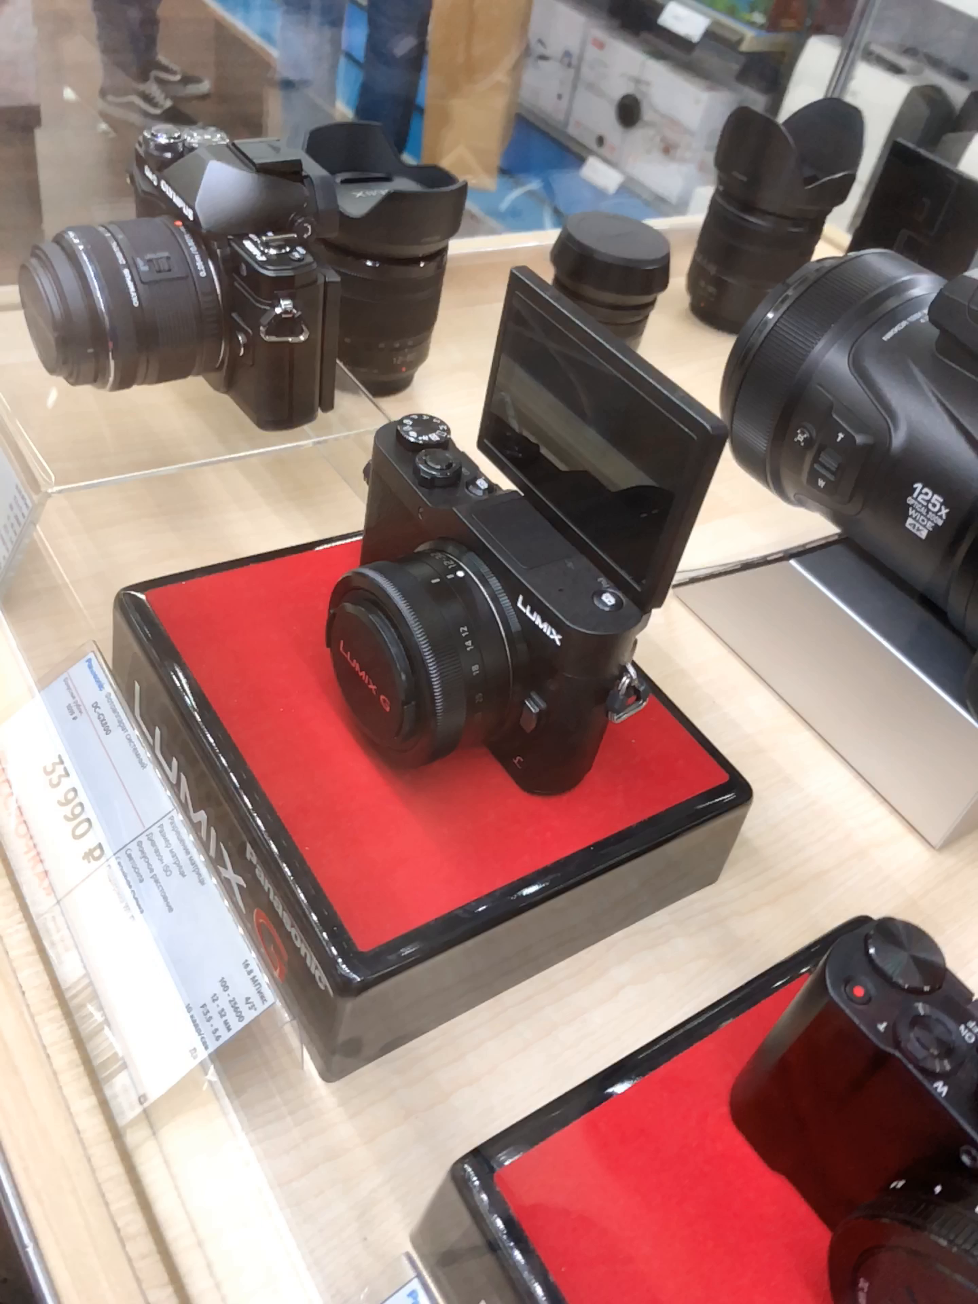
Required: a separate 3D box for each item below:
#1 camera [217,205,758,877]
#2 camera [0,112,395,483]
[{"bbox_3d":[-0.012,-0.031,0.280,0.070,0.120,0.108,-21,53,-33],"label":"camera"},{"bbox_3d":[-0.110,-0.134,0.395,0.103,0.080,0.108,-18,51,-30],"label":"camera"}]
